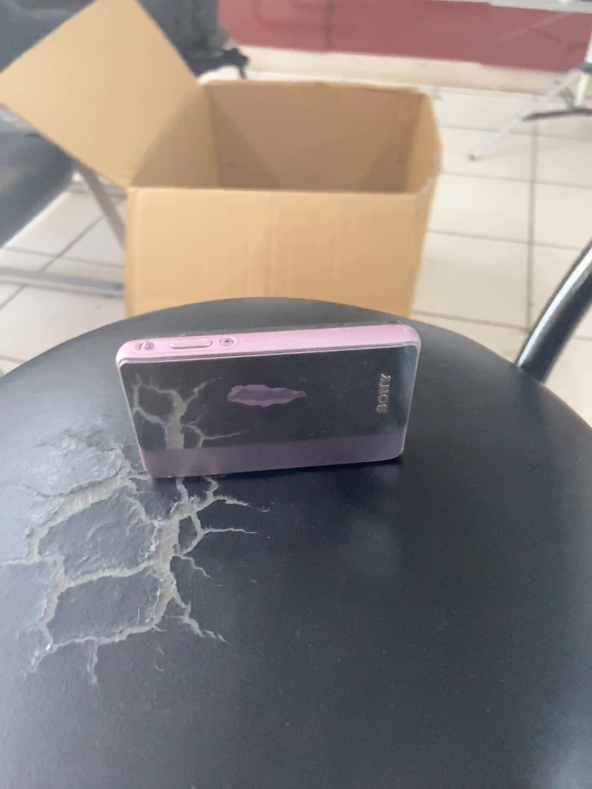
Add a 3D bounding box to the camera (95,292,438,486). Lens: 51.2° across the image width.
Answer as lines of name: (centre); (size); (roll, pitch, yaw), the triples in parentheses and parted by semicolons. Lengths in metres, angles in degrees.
camera: (-0.009, -0.002, 0.208); (0.100, 0.050, 0.030); (-5, 43, -5)
